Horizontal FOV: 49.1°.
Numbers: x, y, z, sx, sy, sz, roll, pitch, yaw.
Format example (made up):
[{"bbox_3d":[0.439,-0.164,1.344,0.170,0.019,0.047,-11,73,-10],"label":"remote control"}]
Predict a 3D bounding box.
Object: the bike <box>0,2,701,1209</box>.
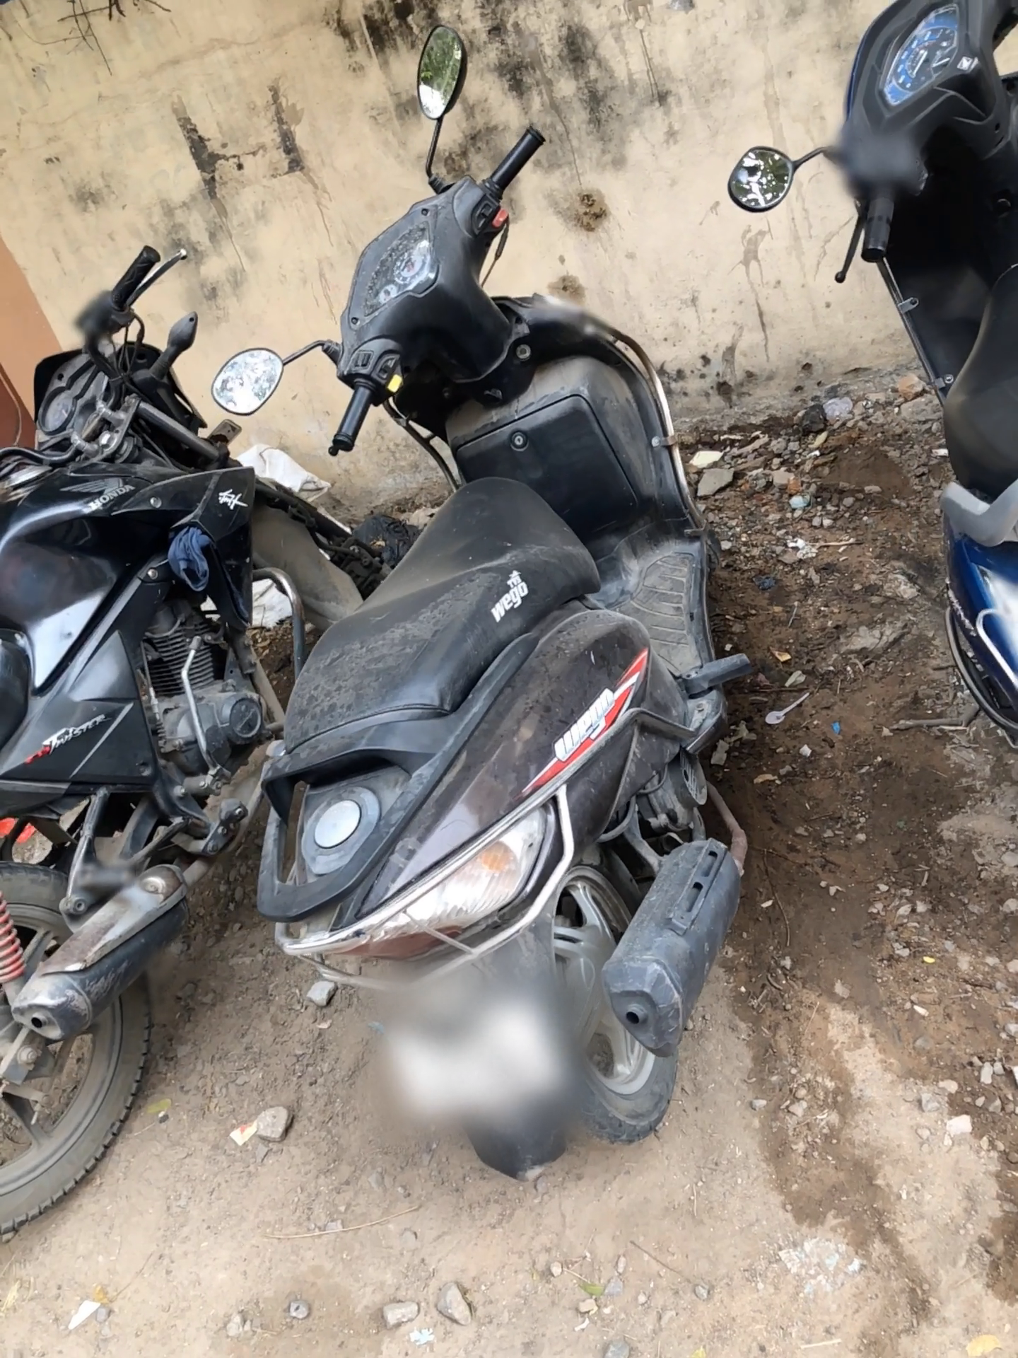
[{"bbox_3d":[-0.173,-0.262,1.822,0.528,1.114,1.567,-14,34,14],"label":"bike"}]
